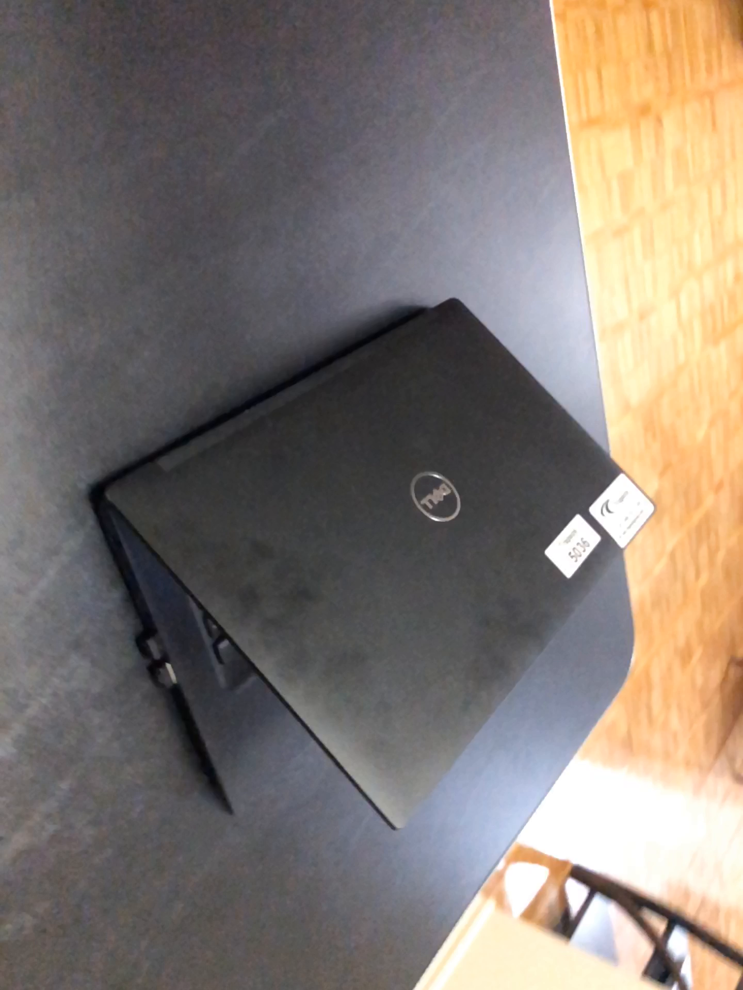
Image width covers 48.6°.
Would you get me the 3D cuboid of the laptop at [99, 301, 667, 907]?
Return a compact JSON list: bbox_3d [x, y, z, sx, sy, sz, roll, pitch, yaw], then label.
[{"bbox_3d":[0.043,0.034,0.519,0.320,0.142,0.220,-36,121,-41],"label":"laptop"}]
